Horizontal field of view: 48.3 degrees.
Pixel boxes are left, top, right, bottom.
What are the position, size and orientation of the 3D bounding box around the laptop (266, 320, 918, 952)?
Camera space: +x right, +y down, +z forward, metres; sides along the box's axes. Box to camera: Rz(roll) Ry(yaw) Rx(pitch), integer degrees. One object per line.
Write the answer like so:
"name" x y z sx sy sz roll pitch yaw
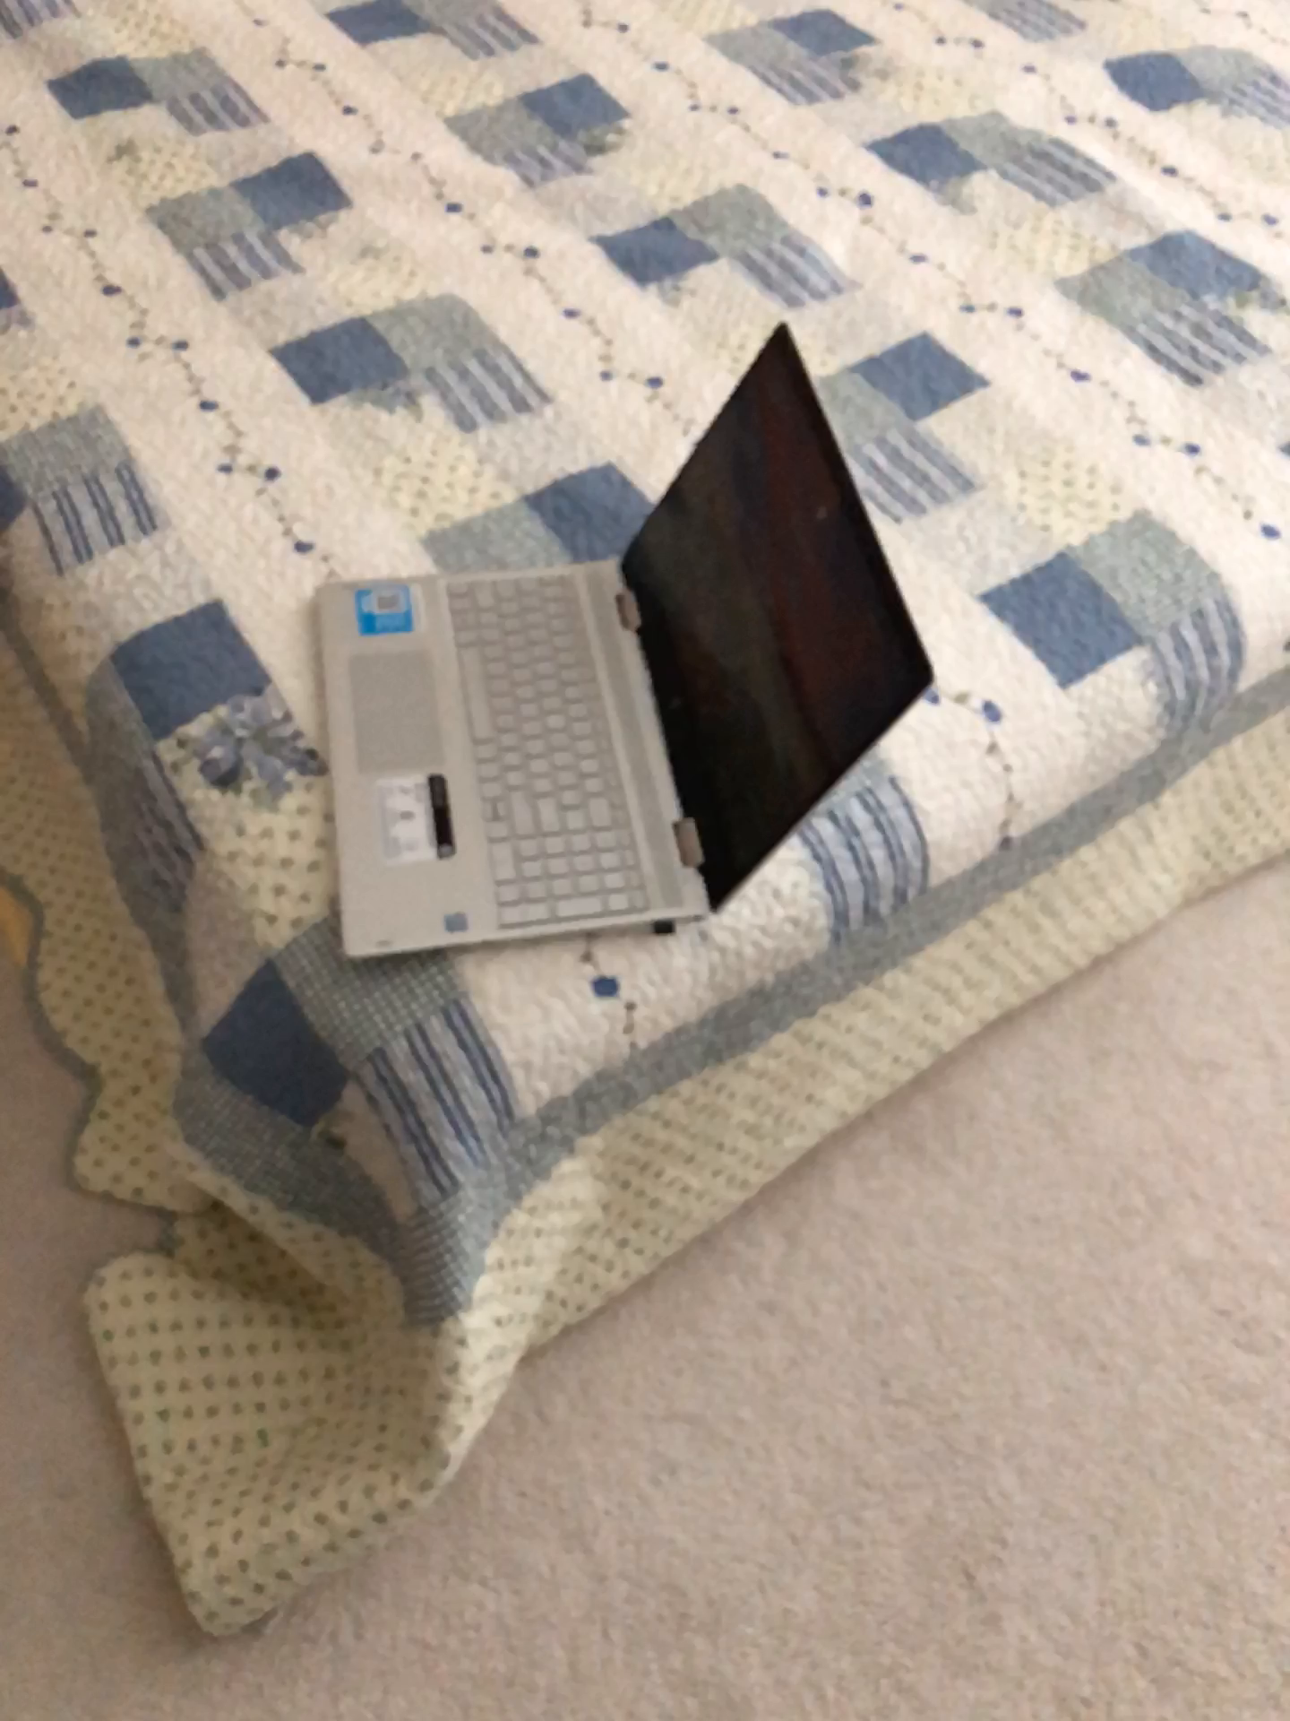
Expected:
"laptop" -0.052 -0.165 0.988 0.357 0.208 0.356 -7 53 -9
